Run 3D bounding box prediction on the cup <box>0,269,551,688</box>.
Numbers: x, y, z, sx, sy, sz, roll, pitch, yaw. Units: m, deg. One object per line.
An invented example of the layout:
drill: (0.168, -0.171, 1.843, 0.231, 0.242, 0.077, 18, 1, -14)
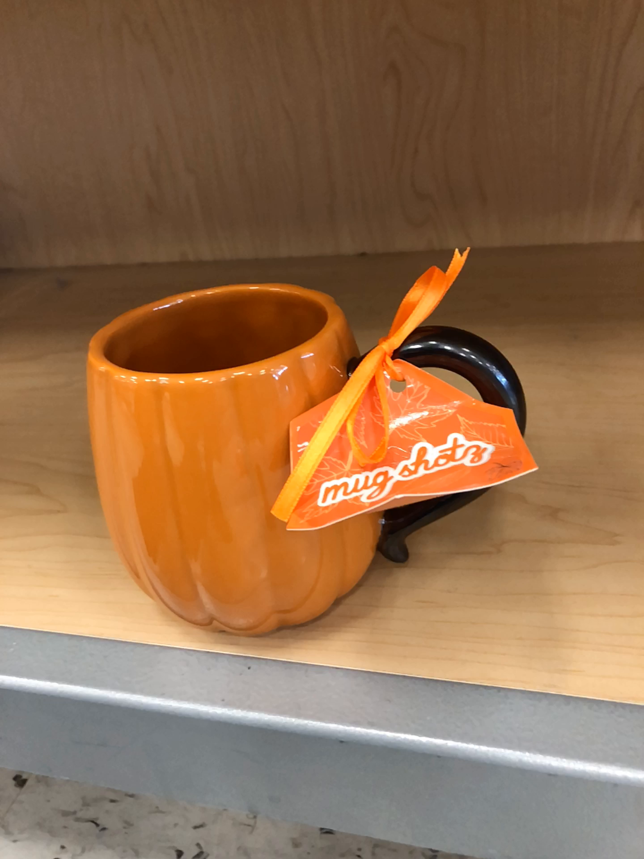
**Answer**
cup: (-0.003, 0.010, 0.225, 0.140, 0.089, 0.081, 1, 31, 16)
